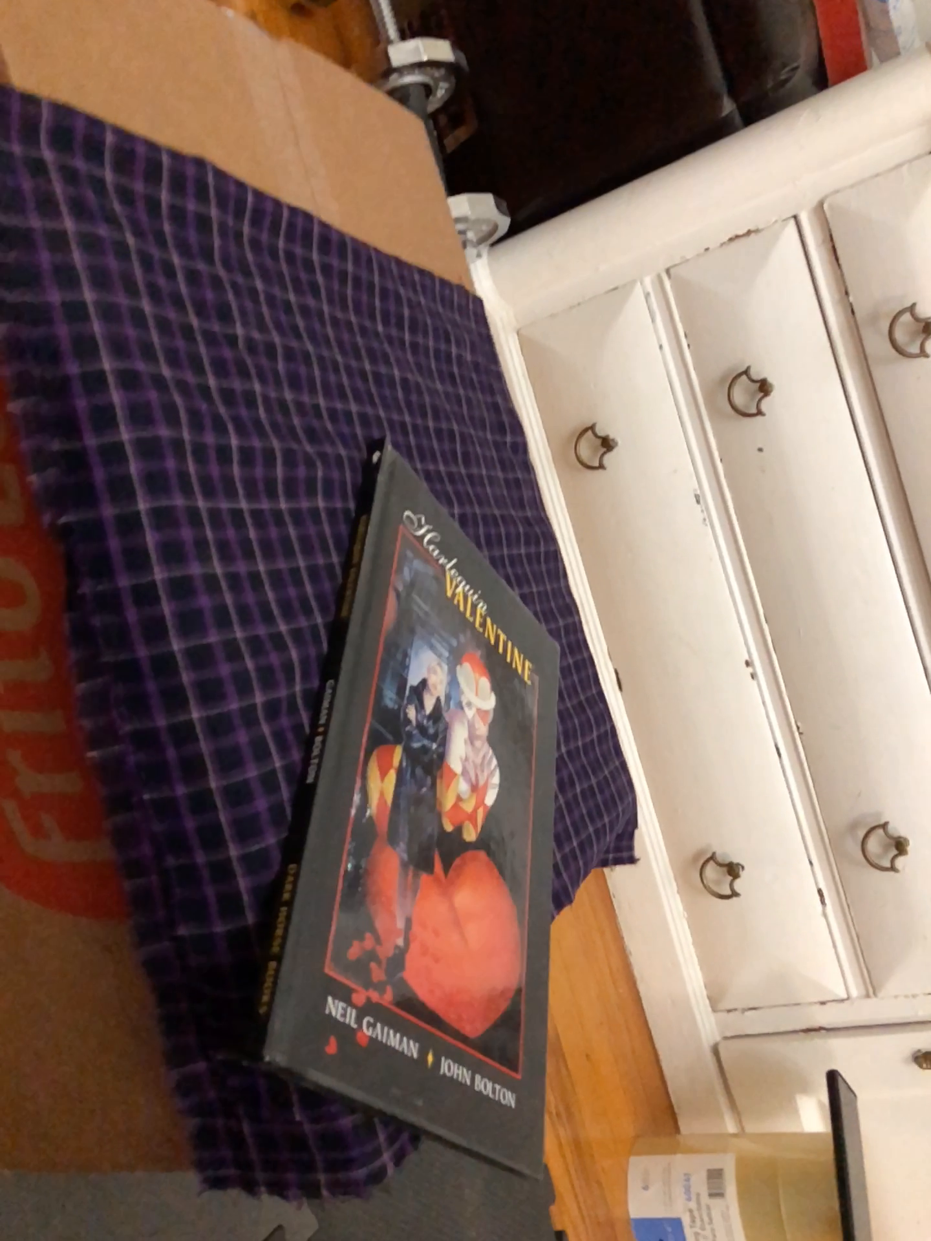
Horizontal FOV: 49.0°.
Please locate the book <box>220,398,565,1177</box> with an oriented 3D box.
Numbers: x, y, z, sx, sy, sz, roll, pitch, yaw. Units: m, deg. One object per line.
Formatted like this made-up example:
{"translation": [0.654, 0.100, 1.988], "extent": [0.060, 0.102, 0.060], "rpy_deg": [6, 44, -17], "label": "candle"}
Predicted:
{"translation": [-0.008, 0.064, 0.436], "extent": [0.180, 0.020, 0.281], "rpy_deg": [47, 36, -42], "label": "book"}
